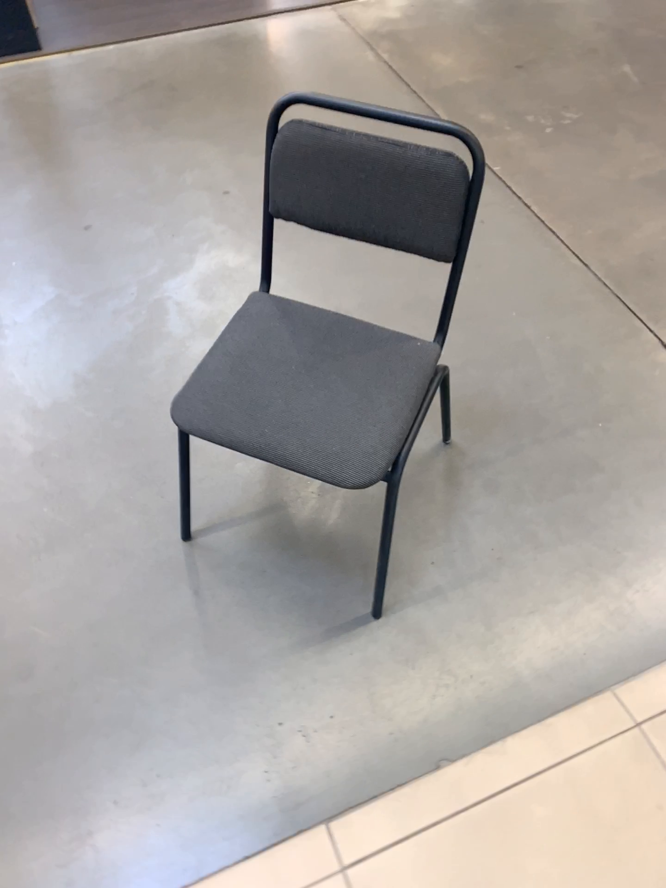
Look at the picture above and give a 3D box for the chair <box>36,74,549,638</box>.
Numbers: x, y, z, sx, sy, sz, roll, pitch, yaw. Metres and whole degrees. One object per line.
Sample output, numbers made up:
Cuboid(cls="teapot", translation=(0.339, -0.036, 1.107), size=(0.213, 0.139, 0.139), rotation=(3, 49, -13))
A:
Cuboid(cls="chair", translation=(-0.020, -0.148, 1.311), size=(0.550, 0.738, 0.631), rotation=(20, 56, 15))
